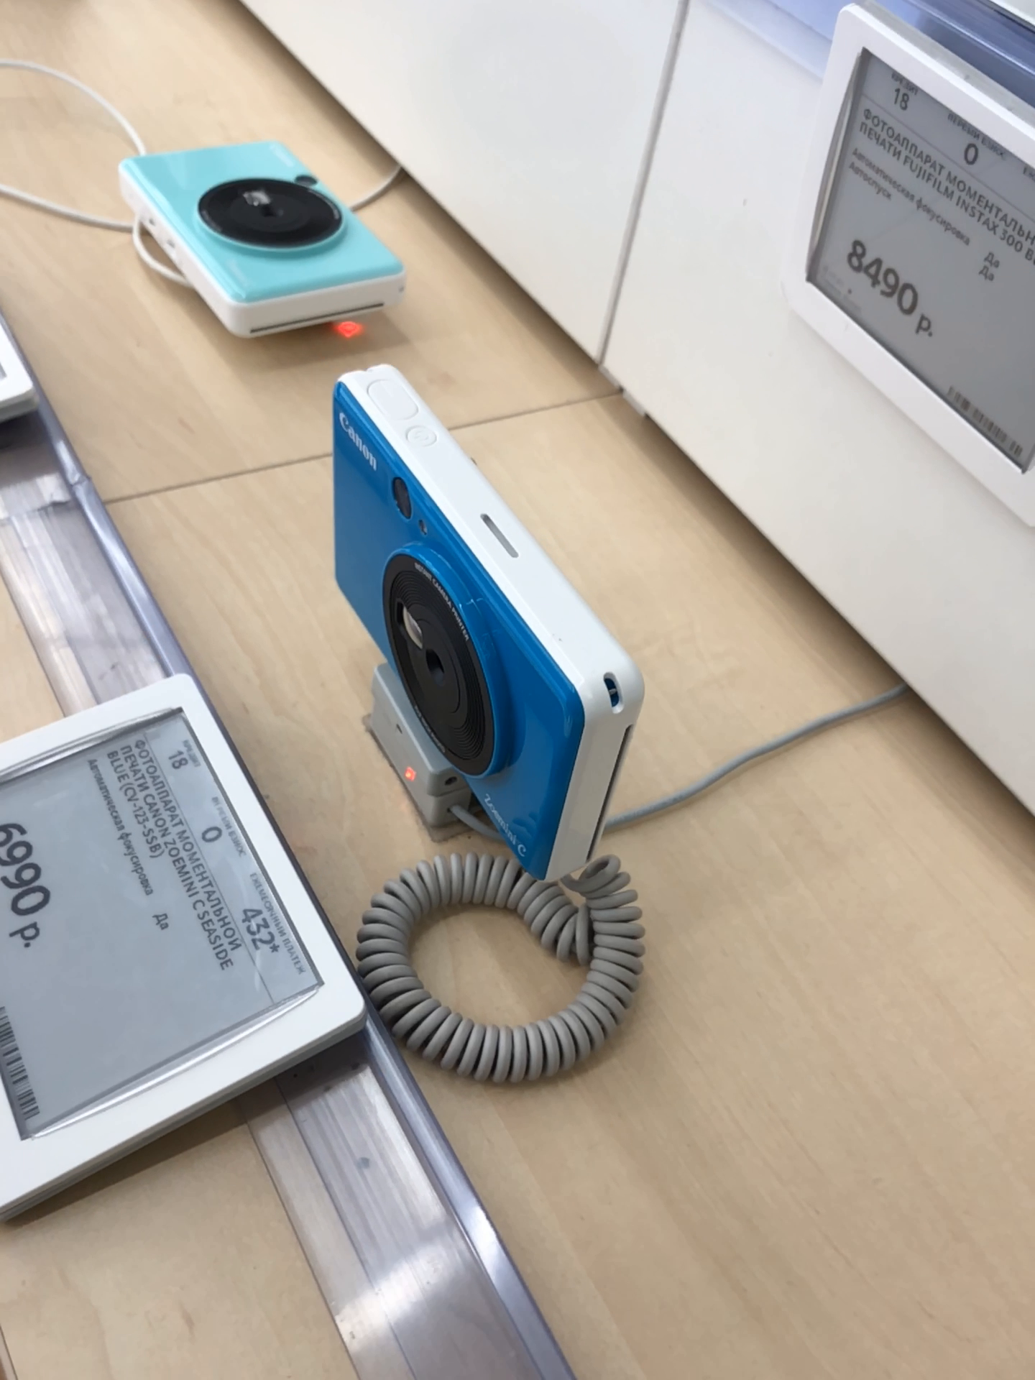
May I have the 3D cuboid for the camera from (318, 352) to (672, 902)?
[{"bbox_3d":[-0.012,-0.018,0.286,0.025,0.072,0.120,-21,56,-22],"label":"camera"}]
